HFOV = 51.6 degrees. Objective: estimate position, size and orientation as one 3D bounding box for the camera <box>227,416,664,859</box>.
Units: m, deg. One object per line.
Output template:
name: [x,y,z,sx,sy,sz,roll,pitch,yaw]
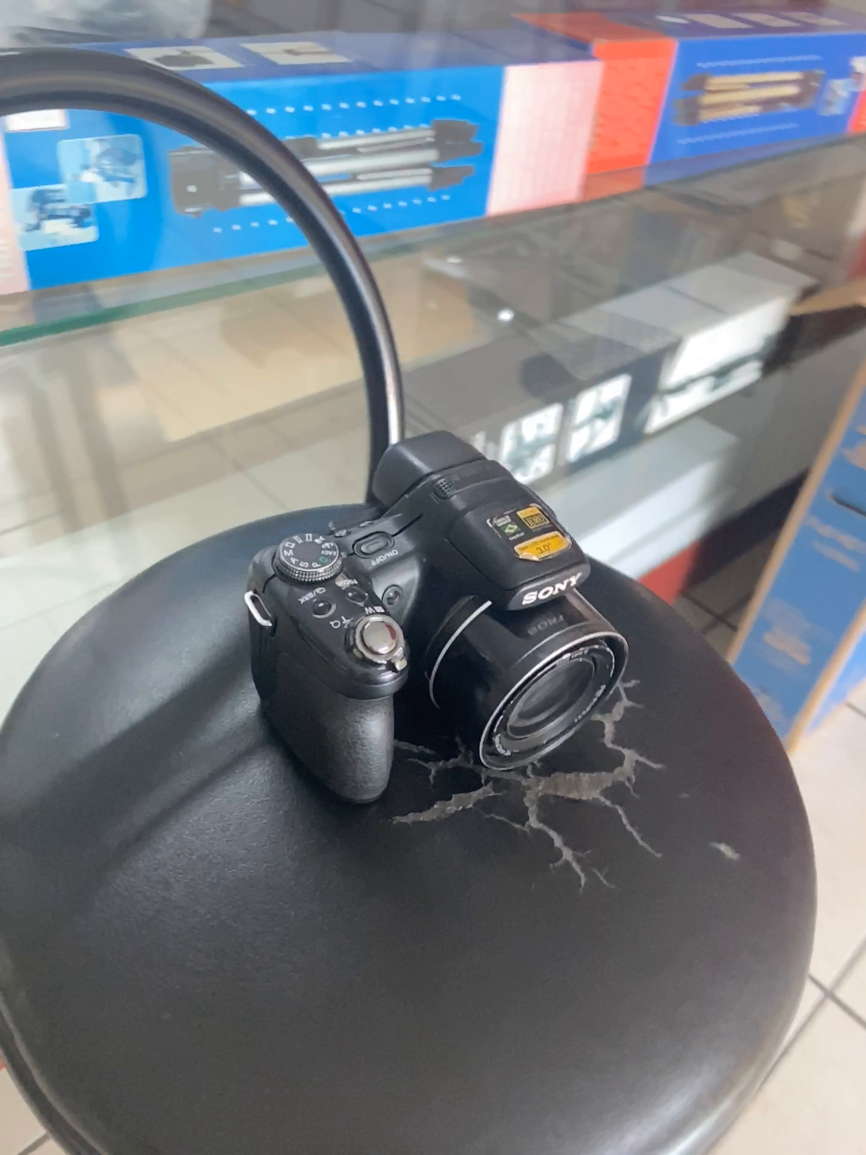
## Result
camera: [-0.001,0.014,0.309,0.100,0.079,0.100,-20,47,-28]
